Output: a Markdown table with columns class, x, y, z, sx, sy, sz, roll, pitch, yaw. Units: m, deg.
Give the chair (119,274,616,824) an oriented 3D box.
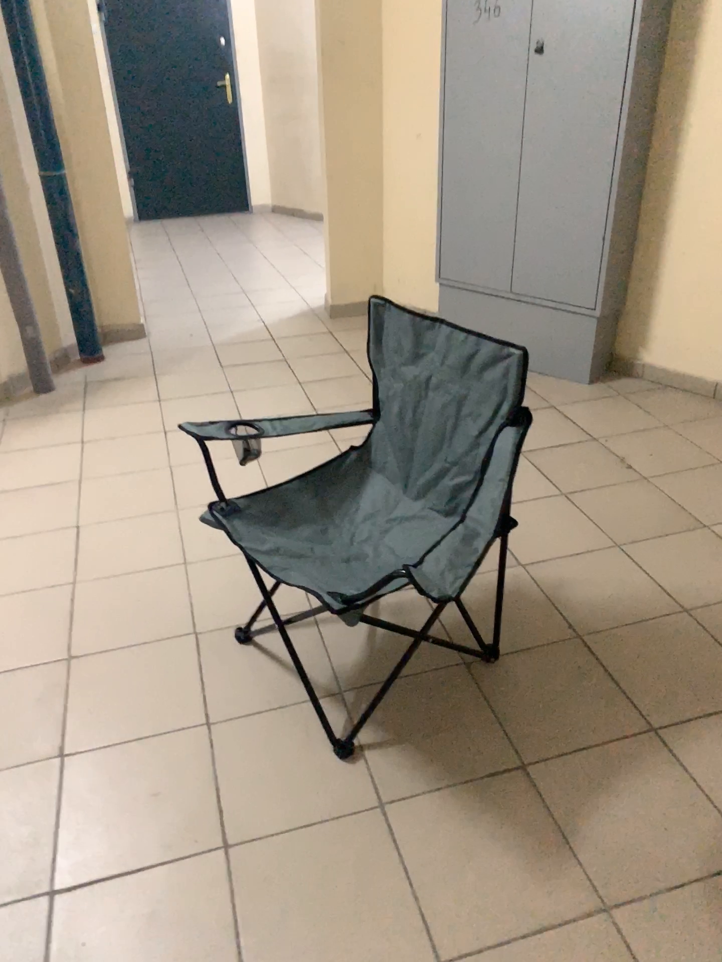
| class | x | y | z | sx | sy | sz | roll | pitch | yaw |
| --- | --- | --- | --- | --- | --- | --- | --- | --- | --- |
| chair | -0.017 | 0.057 | 1.580 | 0.561 | 0.756 | 0.803 | -24 | 36 | -33 |
